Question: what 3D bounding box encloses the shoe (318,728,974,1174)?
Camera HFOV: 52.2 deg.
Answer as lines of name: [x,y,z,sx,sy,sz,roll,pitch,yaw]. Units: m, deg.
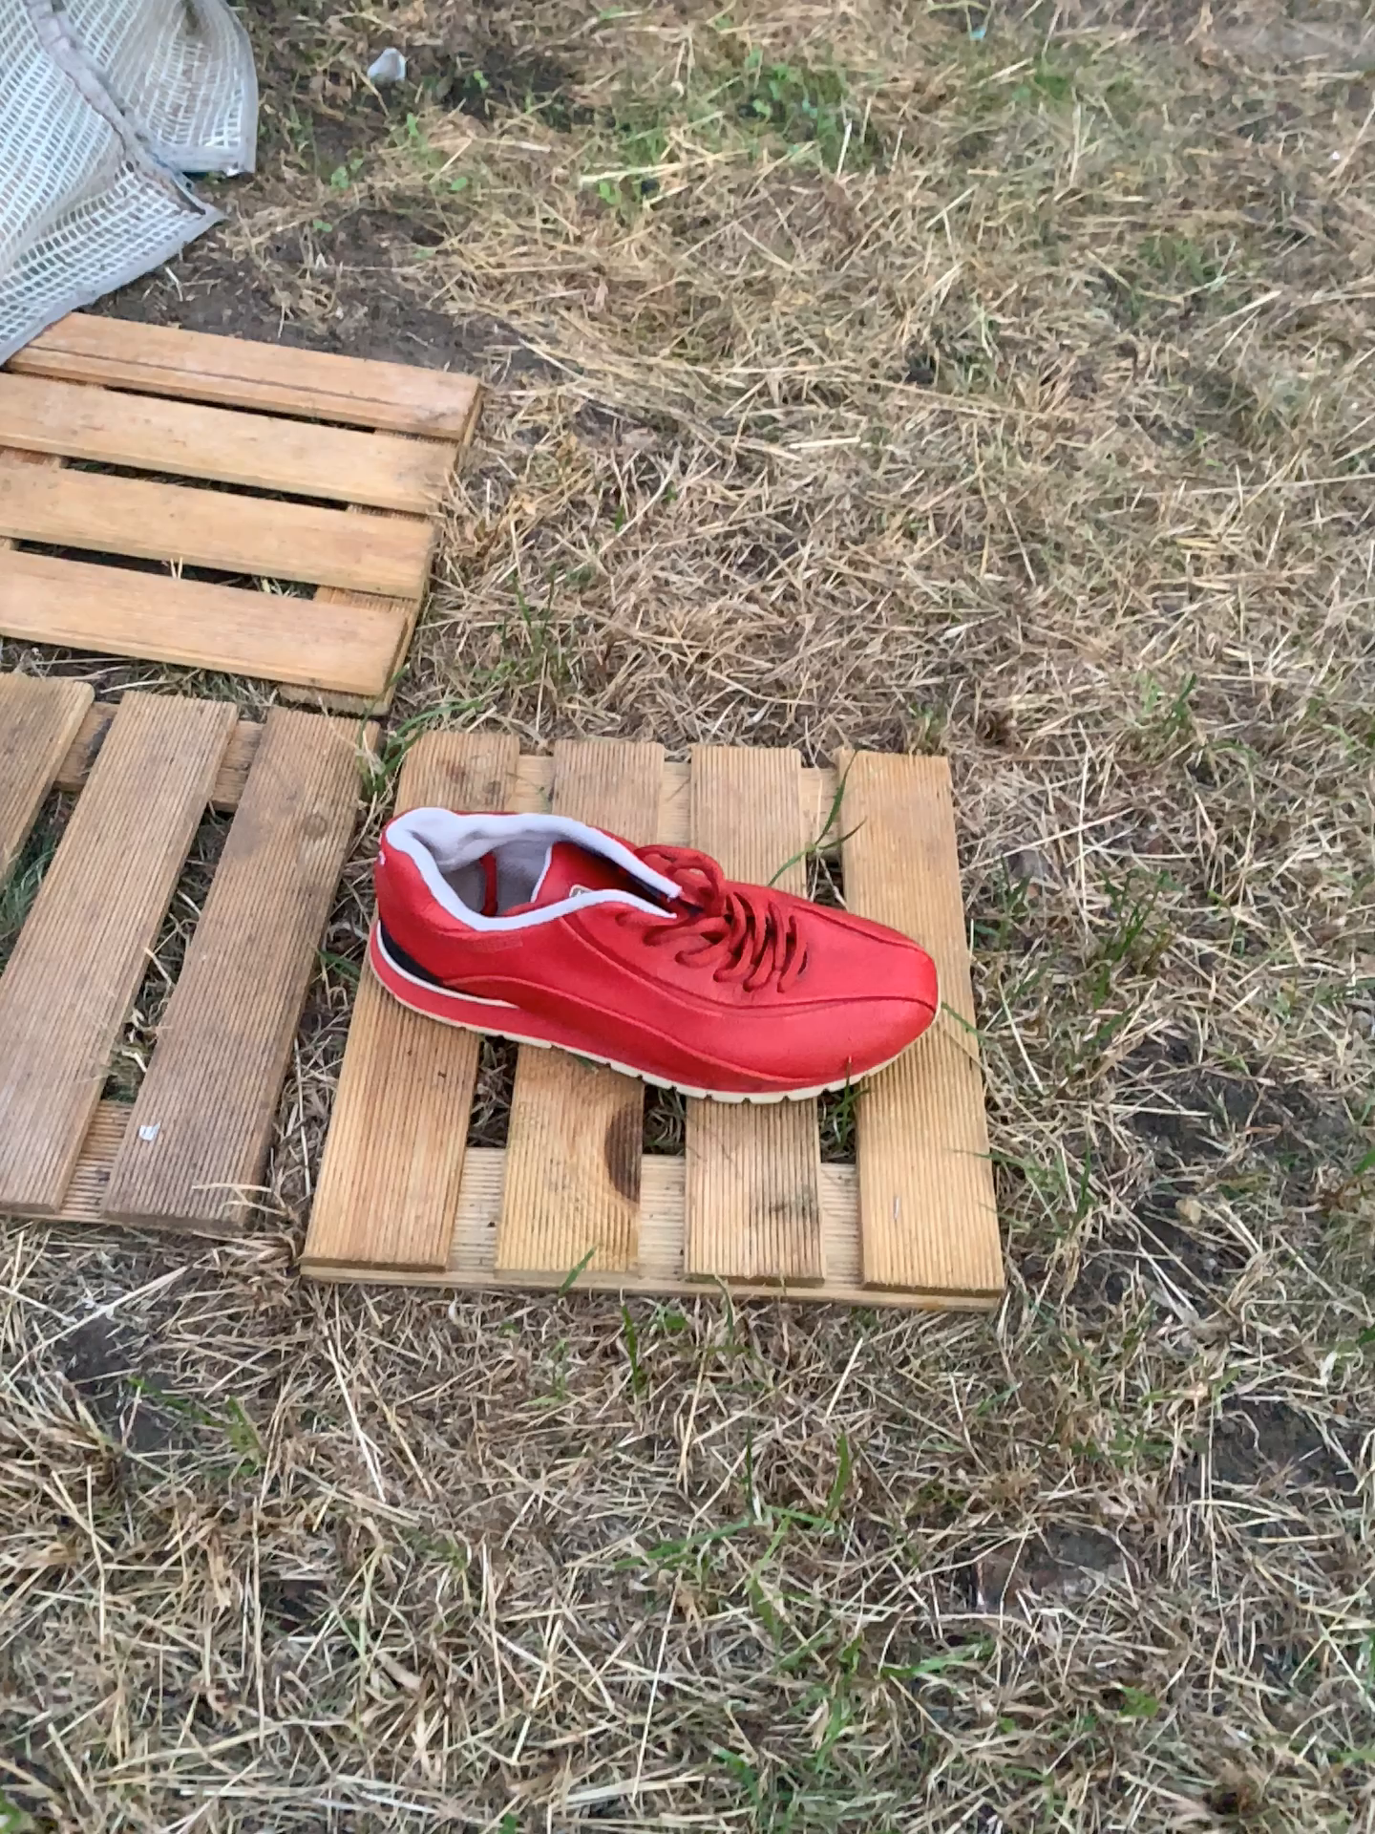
shoe: [-0.018,0.017,0.630,0.260,0.099,0.101,15,55,2]
